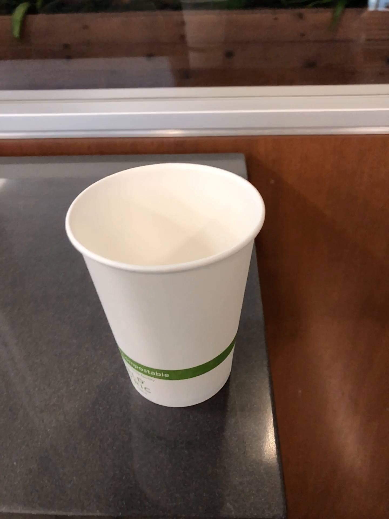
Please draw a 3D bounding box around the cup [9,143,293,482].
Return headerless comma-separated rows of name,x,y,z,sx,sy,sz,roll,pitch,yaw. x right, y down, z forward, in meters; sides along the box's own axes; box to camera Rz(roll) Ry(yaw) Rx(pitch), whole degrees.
cup,-0.016,0.022,0.221,0.090,0.119,0.080,-31,45,-33
